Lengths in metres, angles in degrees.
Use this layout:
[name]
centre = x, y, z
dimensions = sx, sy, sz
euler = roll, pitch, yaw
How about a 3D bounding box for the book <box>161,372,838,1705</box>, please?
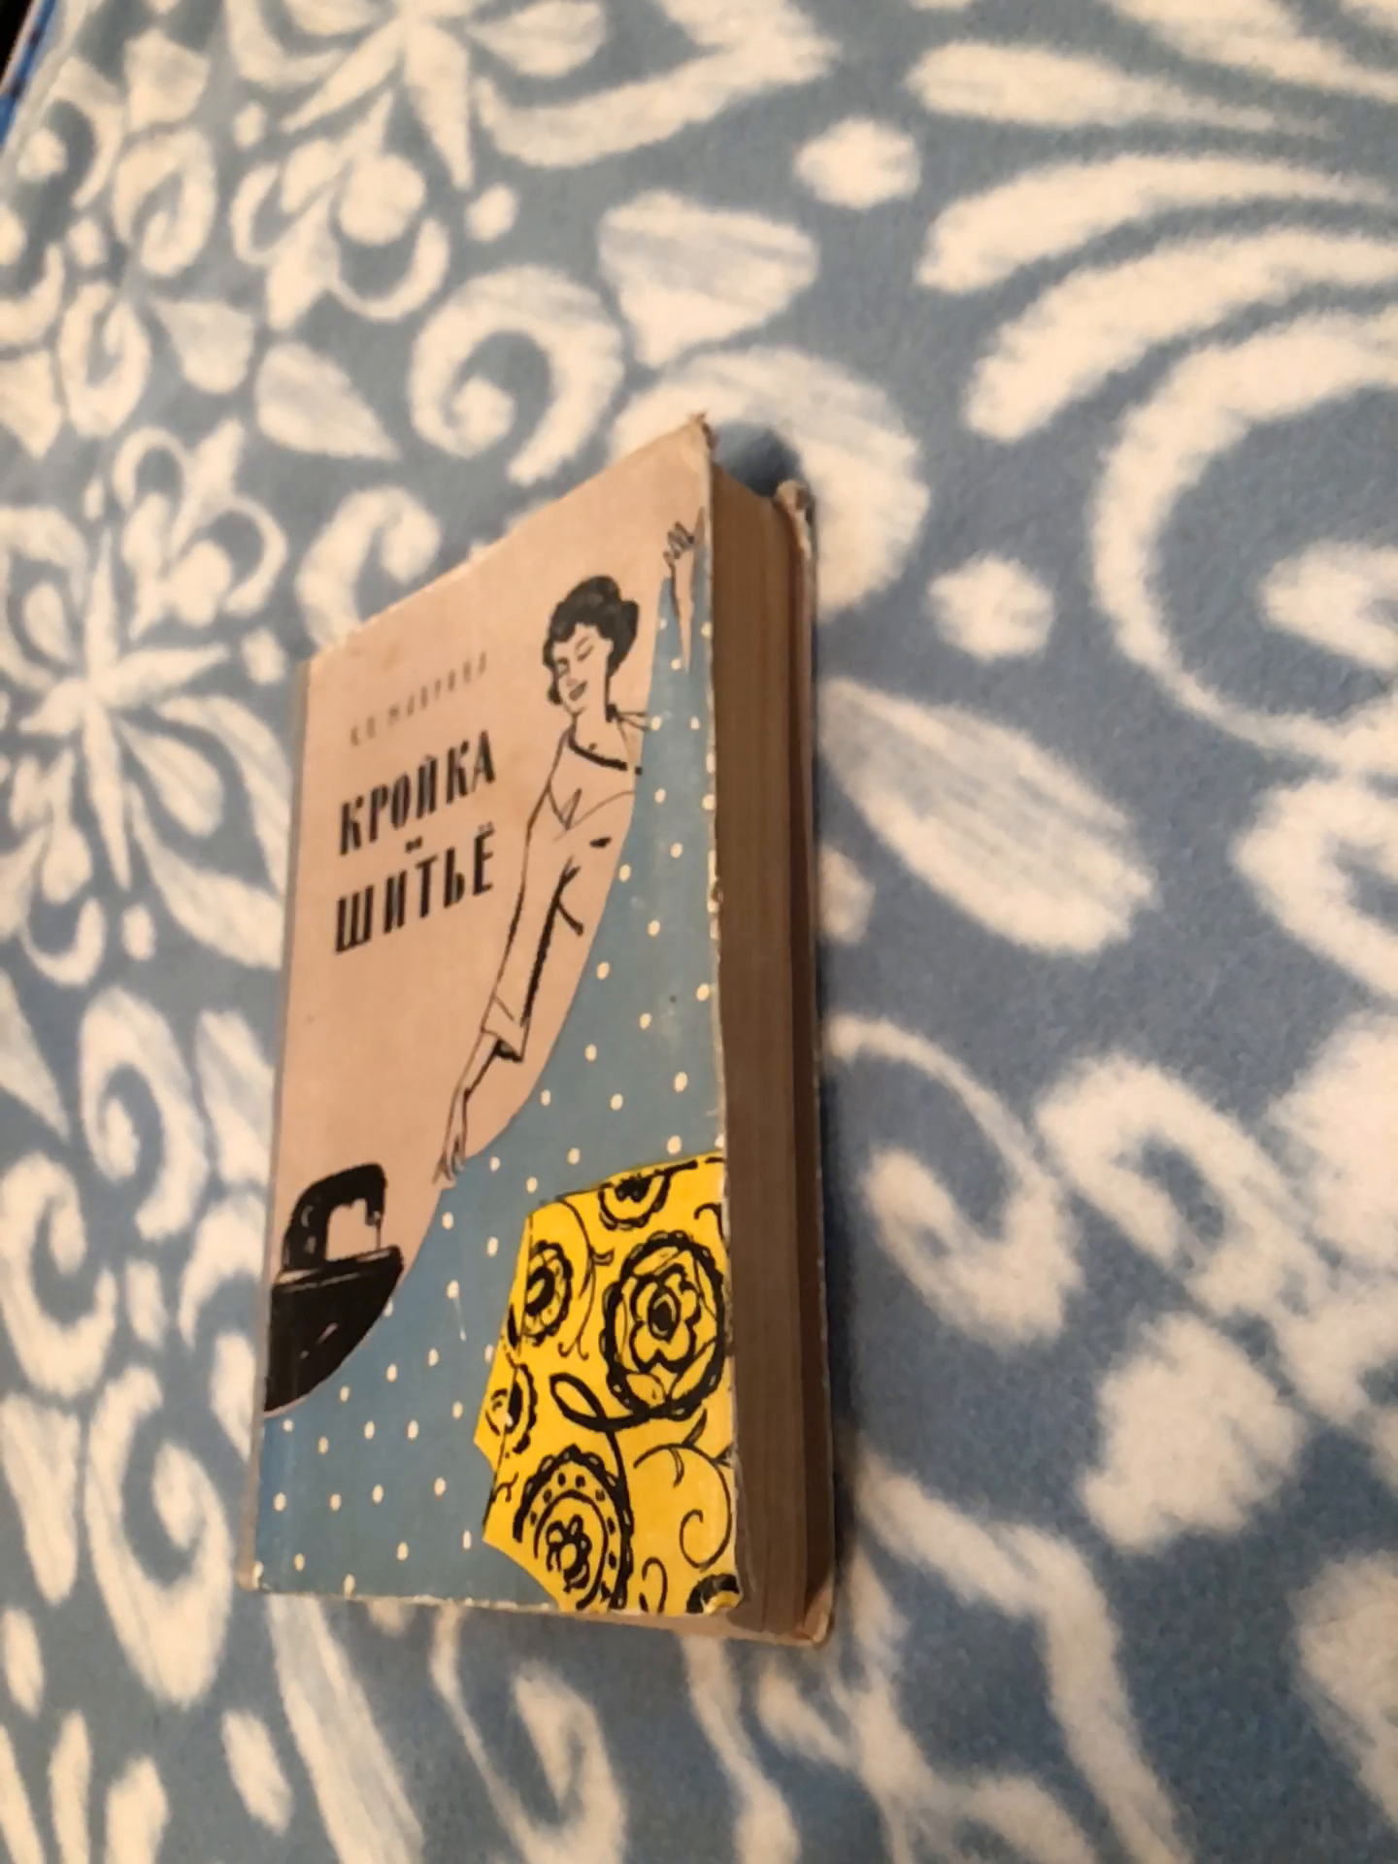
[book]
centre = -0.044, 0.023, 0.324
dimensions = 0.152, 0.037, 0.231
euler = -18, 63, 42
